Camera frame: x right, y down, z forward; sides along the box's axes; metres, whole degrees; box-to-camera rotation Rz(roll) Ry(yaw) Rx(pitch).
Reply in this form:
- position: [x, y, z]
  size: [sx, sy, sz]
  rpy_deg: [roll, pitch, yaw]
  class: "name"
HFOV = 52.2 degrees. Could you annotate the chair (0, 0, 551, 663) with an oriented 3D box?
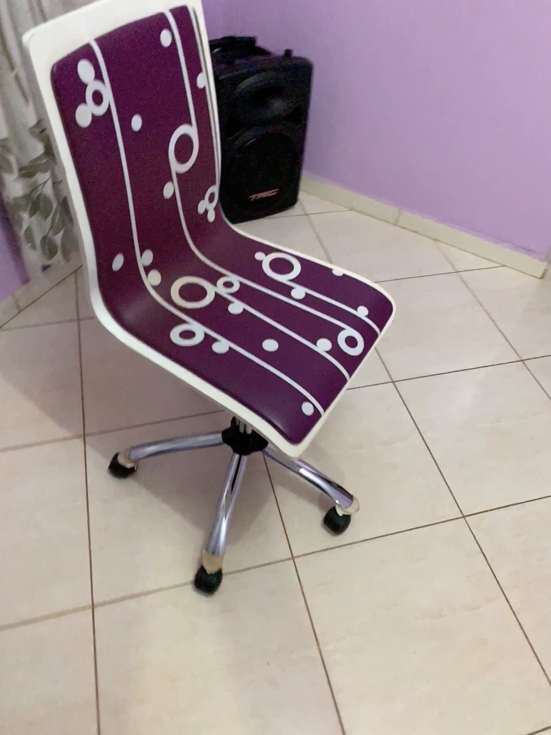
- position: [-0.041, -0.075, 1.088]
  size: [0.621, 1.006, 0.690]
  rpy_deg: [28, 51, 19]
  class: "chair"
